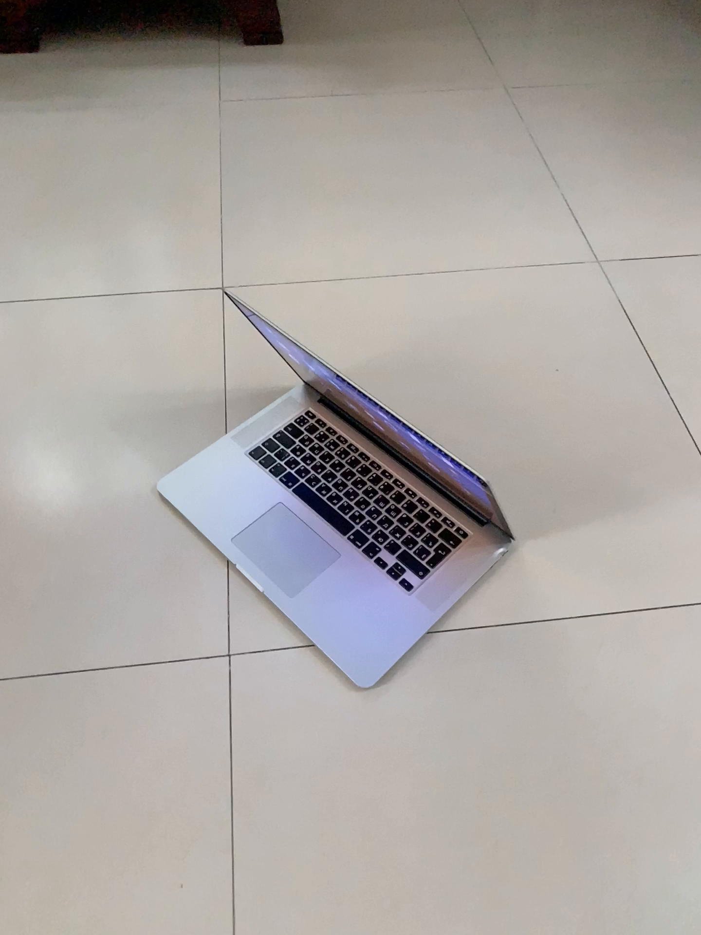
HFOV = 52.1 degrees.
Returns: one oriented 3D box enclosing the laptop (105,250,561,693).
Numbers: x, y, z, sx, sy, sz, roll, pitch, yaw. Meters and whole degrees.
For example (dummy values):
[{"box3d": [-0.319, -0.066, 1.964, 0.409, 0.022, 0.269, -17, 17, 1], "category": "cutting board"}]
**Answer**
[{"box3d": [-0.026, -0.011, 0.752, 0.360, 0.207, 0.242, 39, 61, 25], "category": "laptop"}]
